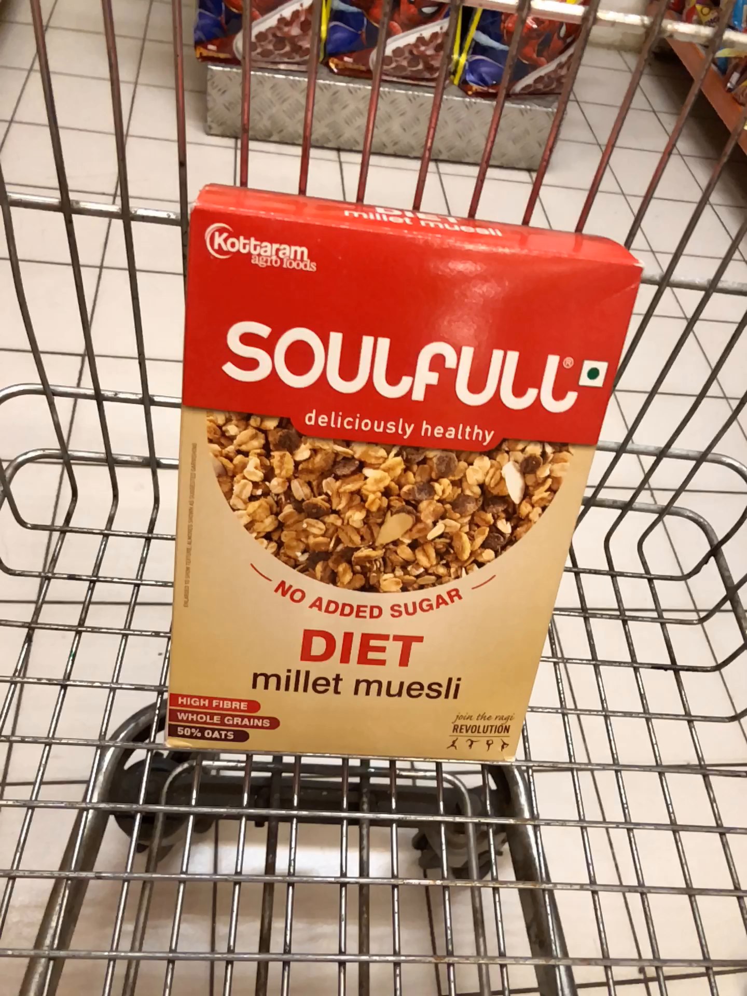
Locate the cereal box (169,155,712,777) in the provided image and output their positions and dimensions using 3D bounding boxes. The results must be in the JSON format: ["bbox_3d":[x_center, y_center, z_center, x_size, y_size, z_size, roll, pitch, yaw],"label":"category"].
[{"bbox_3d":[0.009,0.005,0.346,0.170,0.249,0.050,5,28,-8],"label":"cereal box"}]
